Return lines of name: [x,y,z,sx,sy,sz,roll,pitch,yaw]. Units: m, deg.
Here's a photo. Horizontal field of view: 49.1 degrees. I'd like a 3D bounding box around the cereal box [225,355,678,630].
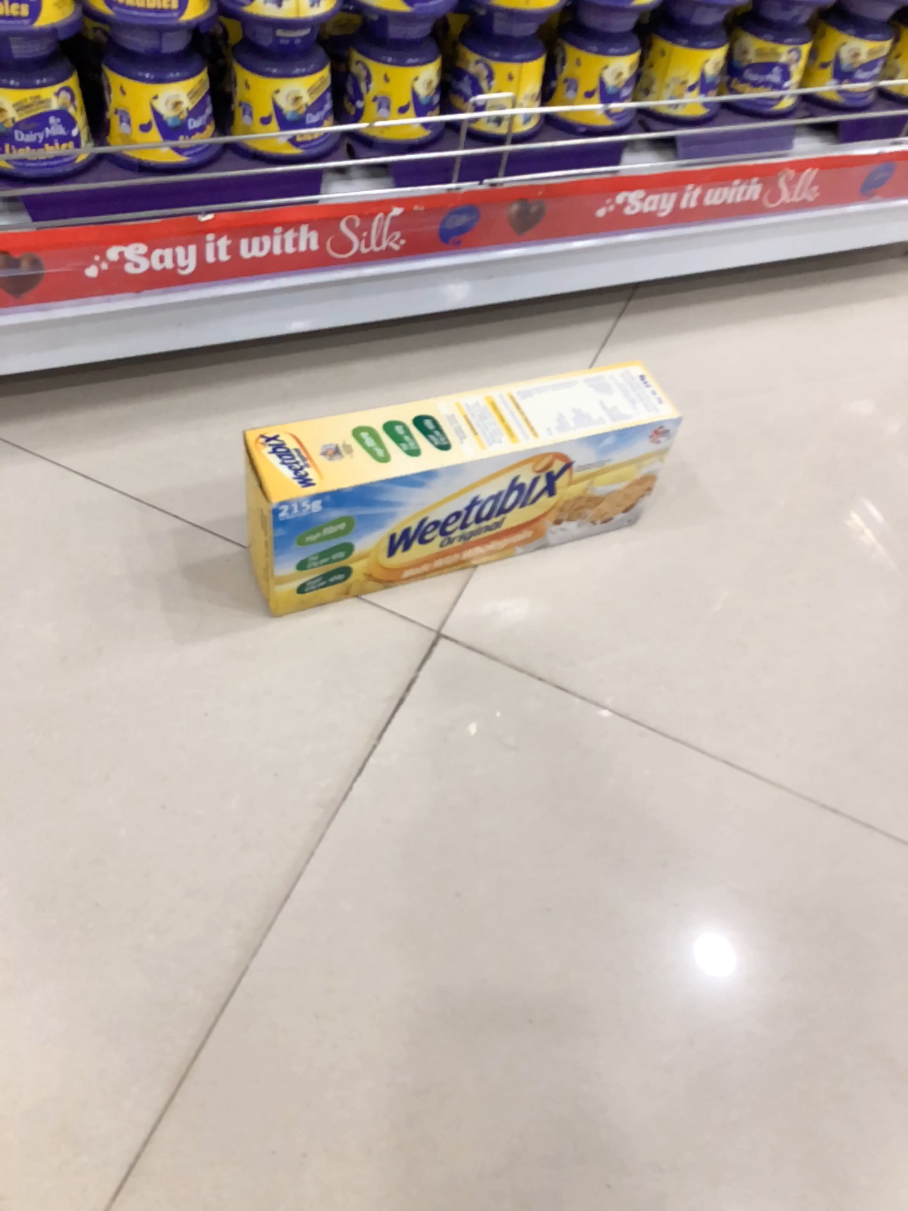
cereal box: [-0.002,-0.070,0.588,0.251,0.099,0.060,-15,57,-21]
